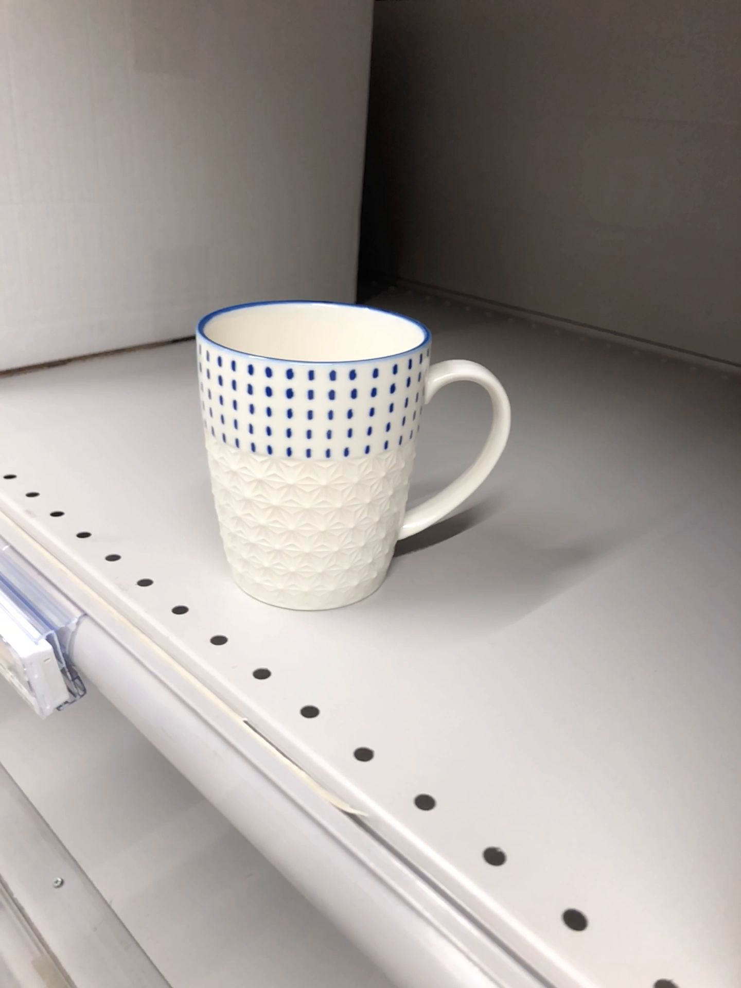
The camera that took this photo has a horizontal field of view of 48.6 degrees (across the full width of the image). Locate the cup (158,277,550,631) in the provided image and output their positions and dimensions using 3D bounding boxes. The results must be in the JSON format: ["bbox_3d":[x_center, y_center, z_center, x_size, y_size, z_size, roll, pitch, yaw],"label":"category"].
[{"bbox_3d":[-0.013,-0.024,0.321,0.119,0.096,0.097,-7,27,-19],"label":"cup"}]
